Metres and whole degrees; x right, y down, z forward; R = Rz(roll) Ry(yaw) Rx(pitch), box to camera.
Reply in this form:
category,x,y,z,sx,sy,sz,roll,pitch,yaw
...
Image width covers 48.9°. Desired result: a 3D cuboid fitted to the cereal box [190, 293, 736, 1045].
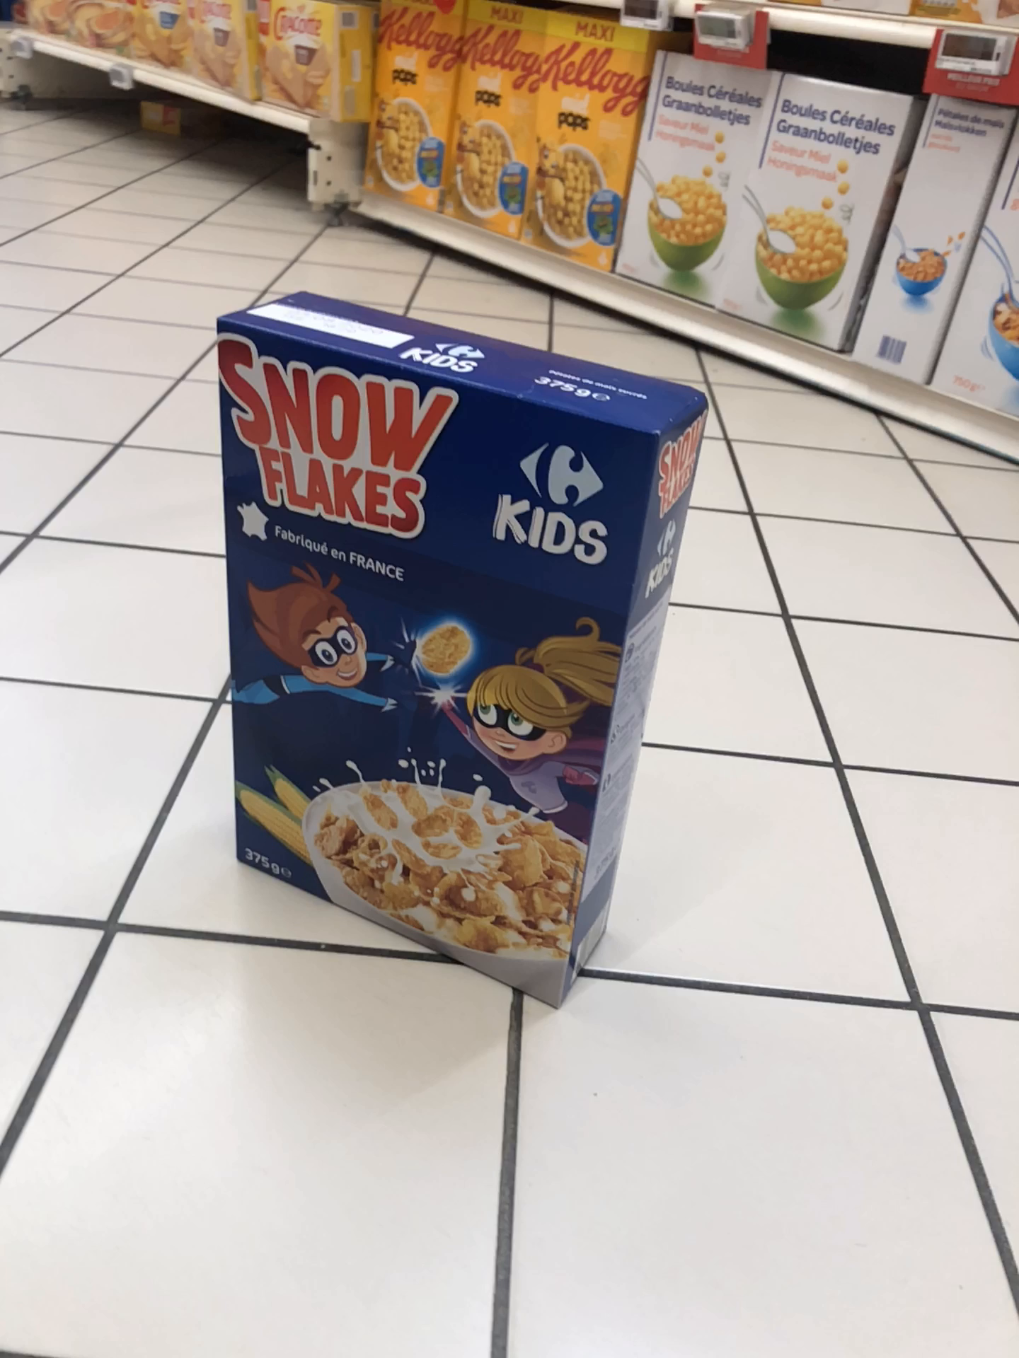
category,x,y,z,sx,sy,sz,roll,pitch,yaw
cereal box,-0.033,-0.002,0.512,0.200,0.288,0.081,20,34,21
